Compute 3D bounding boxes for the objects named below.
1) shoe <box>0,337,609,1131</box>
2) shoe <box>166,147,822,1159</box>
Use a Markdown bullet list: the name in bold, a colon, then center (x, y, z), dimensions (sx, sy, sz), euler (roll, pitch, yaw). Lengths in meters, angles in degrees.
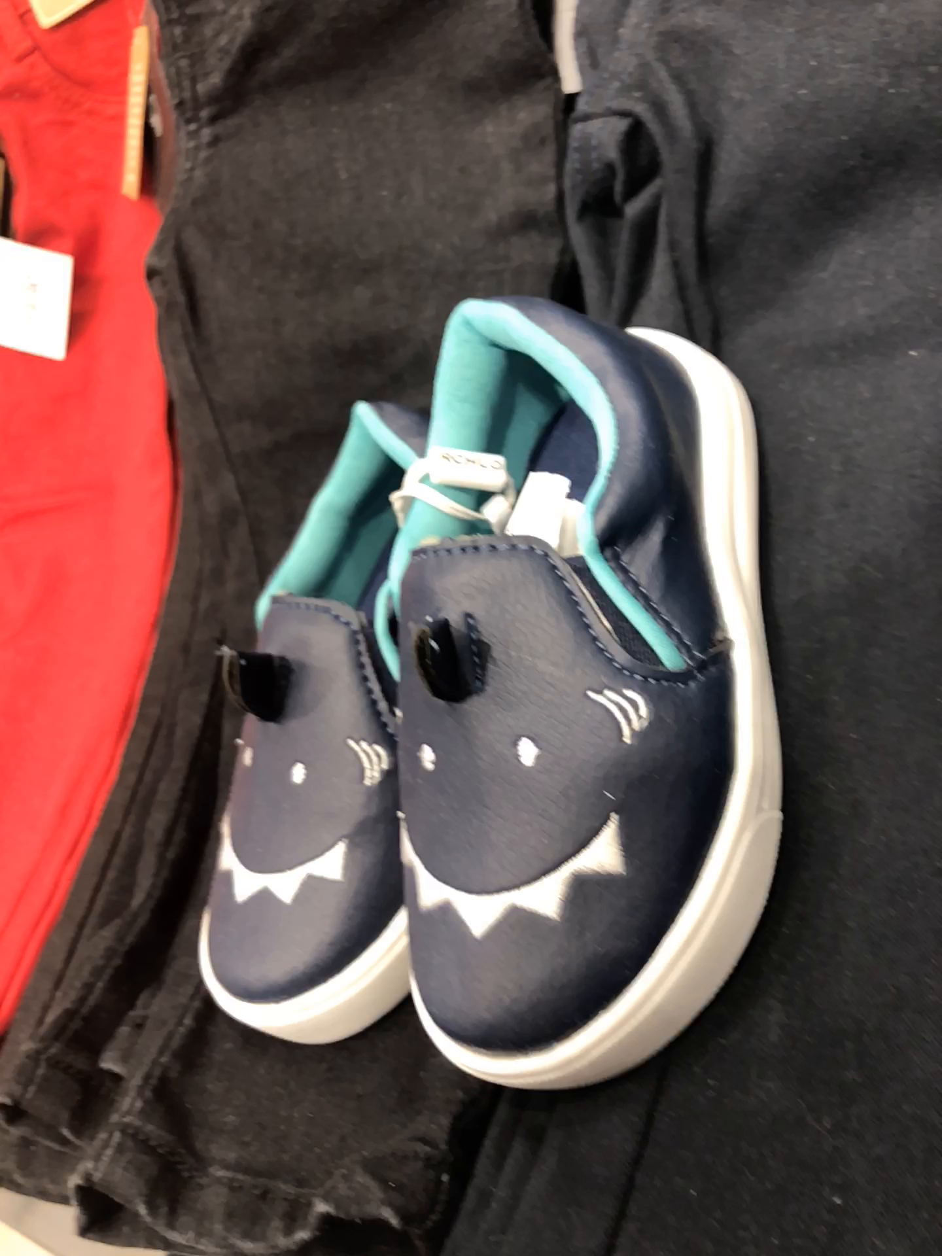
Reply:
- **shoe**: center (-0.034, 0.018, 0.237), dimensions (0.080, 0.050, 0.150), euler (3, 67, 40)
- **shoe**: center (0.012, 0.002, 0.188), dimensions (0.080, 0.050, 0.150), euler (-8, 60, 35)
